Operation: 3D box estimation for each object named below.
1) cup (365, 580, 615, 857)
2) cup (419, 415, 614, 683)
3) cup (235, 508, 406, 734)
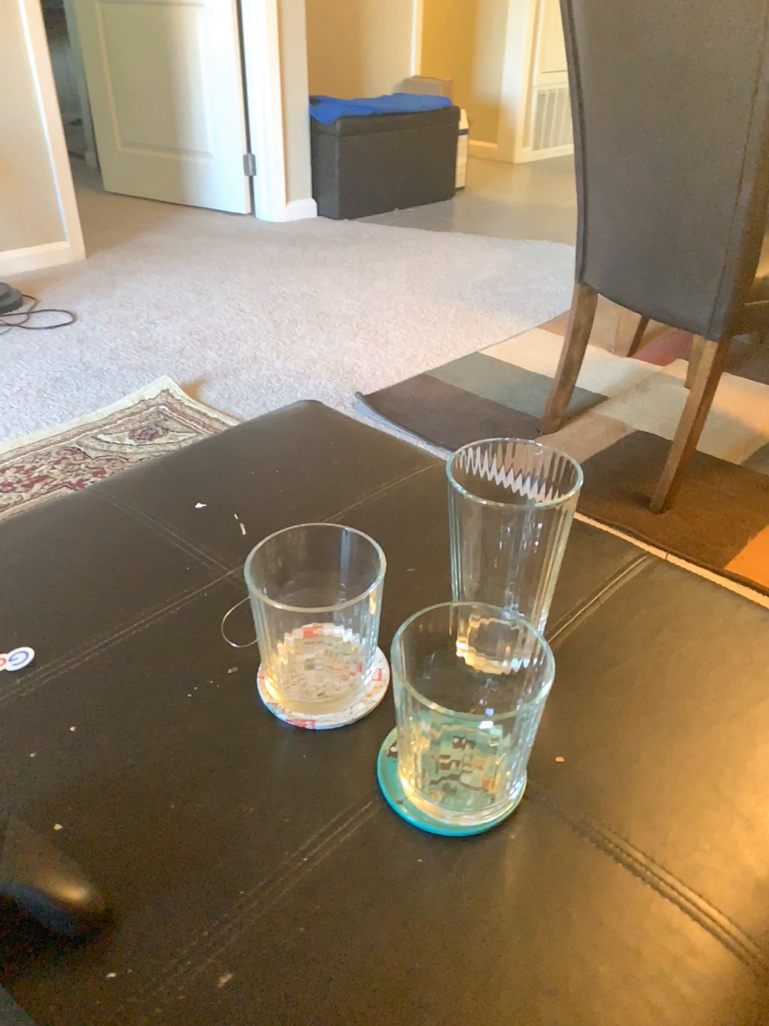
[{"bbox_3d":[0.052,0.110,0.440,0.100,0.089,0.091,-12,36,-19],"label":"cup"},{"bbox_3d":[0.081,0.022,0.526,0.080,0.139,0.091,-12,36,-19],"label":"cup"},{"bbox_3d":[-0.045,0.072,0.539,0.090,0.109,0.080,-12,36,-19],"label":"cup"}]
